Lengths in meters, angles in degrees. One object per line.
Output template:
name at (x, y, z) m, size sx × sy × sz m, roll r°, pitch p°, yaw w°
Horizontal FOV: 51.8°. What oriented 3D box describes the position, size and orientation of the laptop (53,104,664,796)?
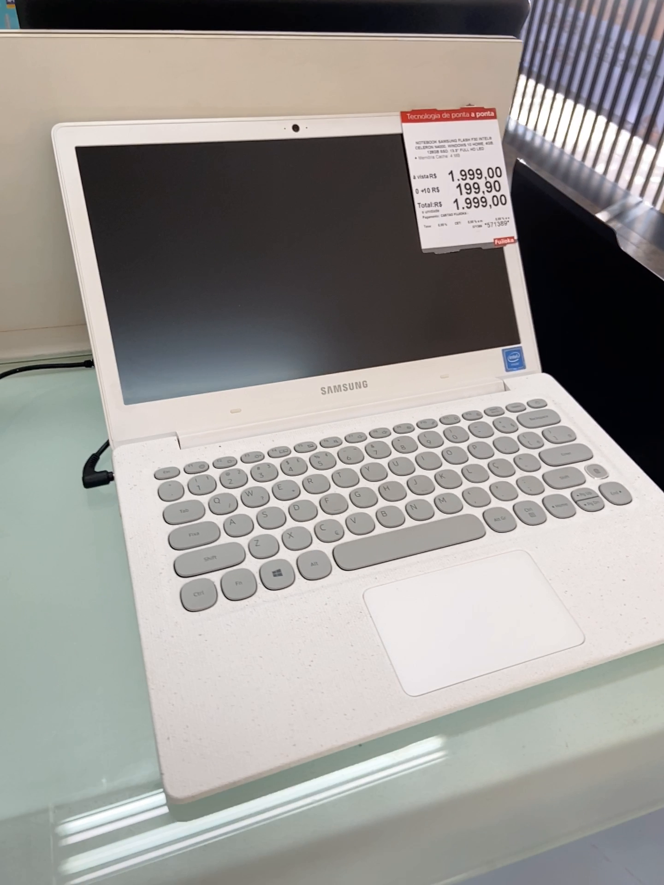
laptop at (0.028, -0.058, 0.398) m, size 0.314 × 0.140 × 0.361 m, roll -10°, pitch 45°, yaw -17°
